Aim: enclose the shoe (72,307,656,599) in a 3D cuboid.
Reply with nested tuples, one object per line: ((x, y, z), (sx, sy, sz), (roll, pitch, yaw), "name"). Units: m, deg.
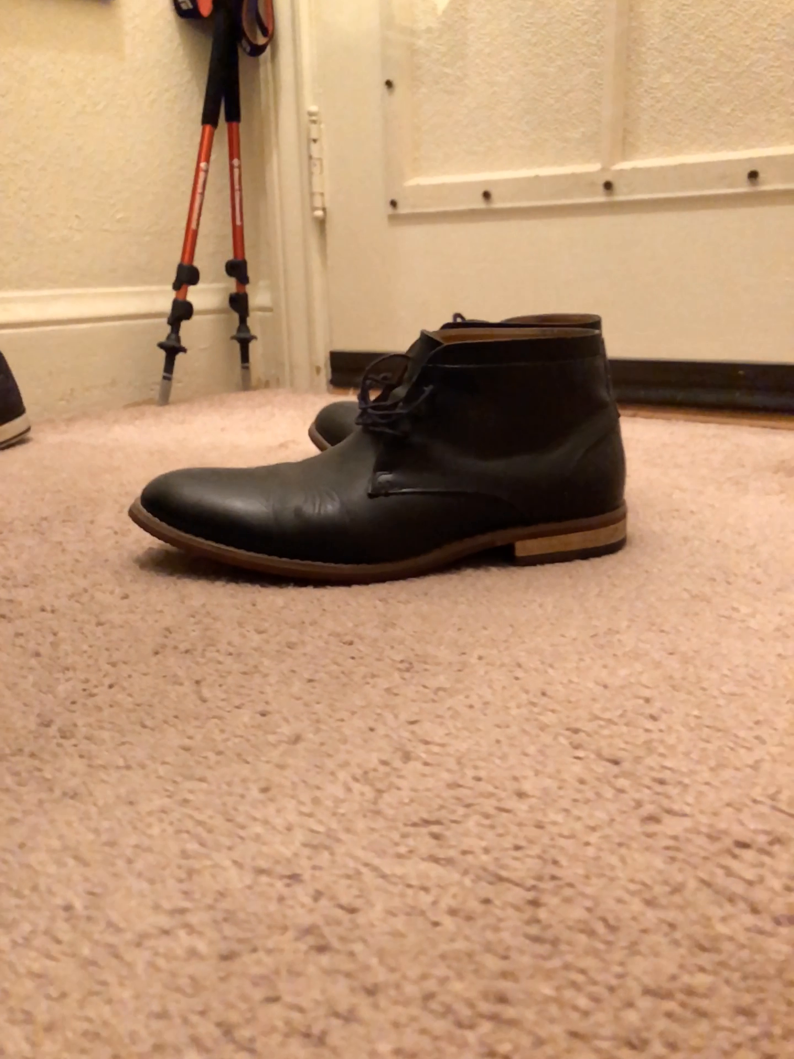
((-0.017, -0.056, 0.522), (0.302, 0.136, 0.116), (-4, 17, -10), "shoe")

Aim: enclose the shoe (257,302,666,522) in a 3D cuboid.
((0.041, -0.108, 0.699), (0.302, 0.136, 0.116), (11, 20, 36), "shoe")
